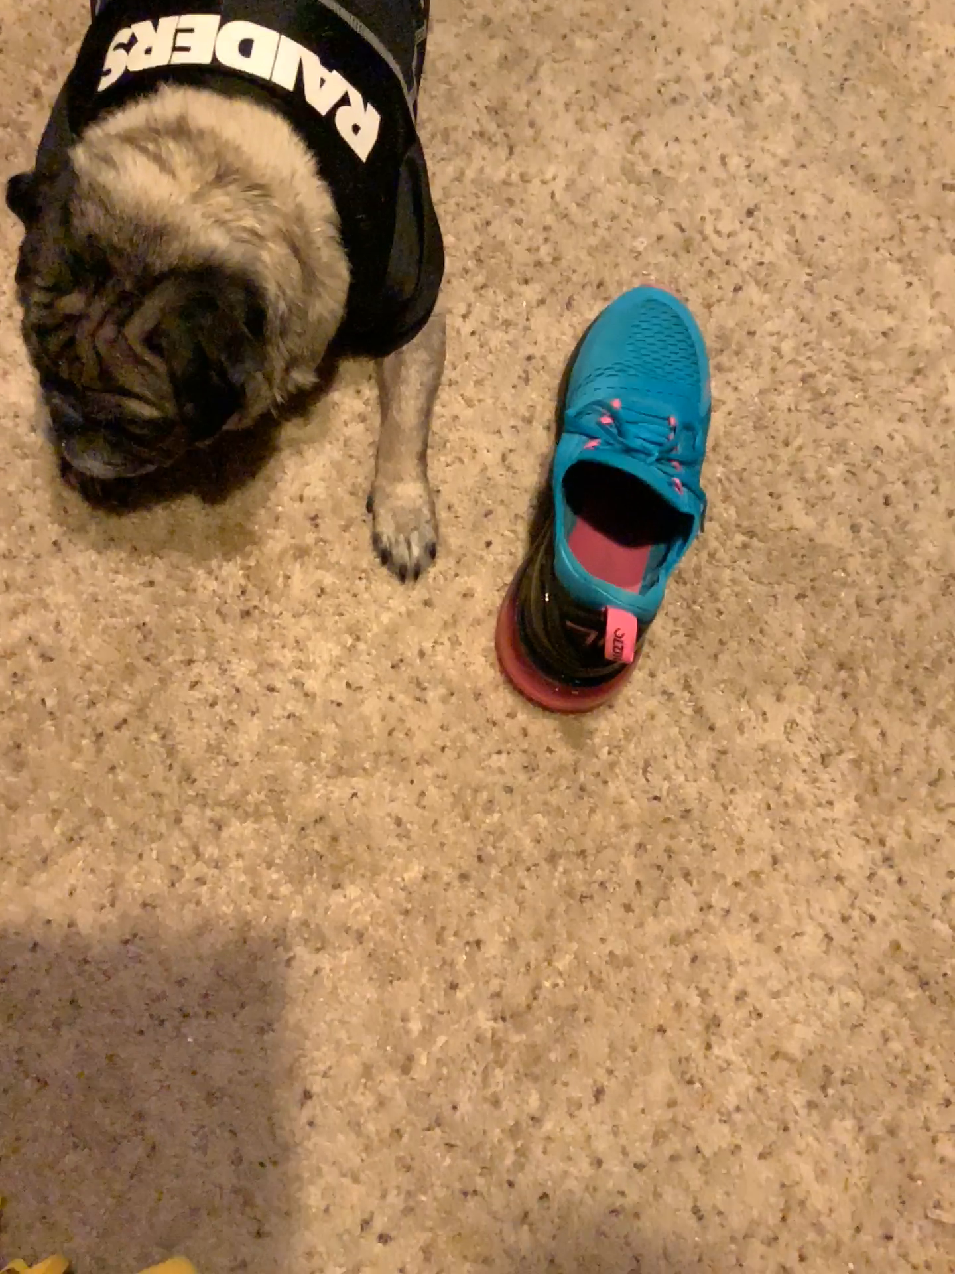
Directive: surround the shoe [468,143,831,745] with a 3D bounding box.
[{"bbox_3d":[0.112,-0.119,0.697,0.130,0.140,0.340,17,73,-8],"label":"shoe"}]
